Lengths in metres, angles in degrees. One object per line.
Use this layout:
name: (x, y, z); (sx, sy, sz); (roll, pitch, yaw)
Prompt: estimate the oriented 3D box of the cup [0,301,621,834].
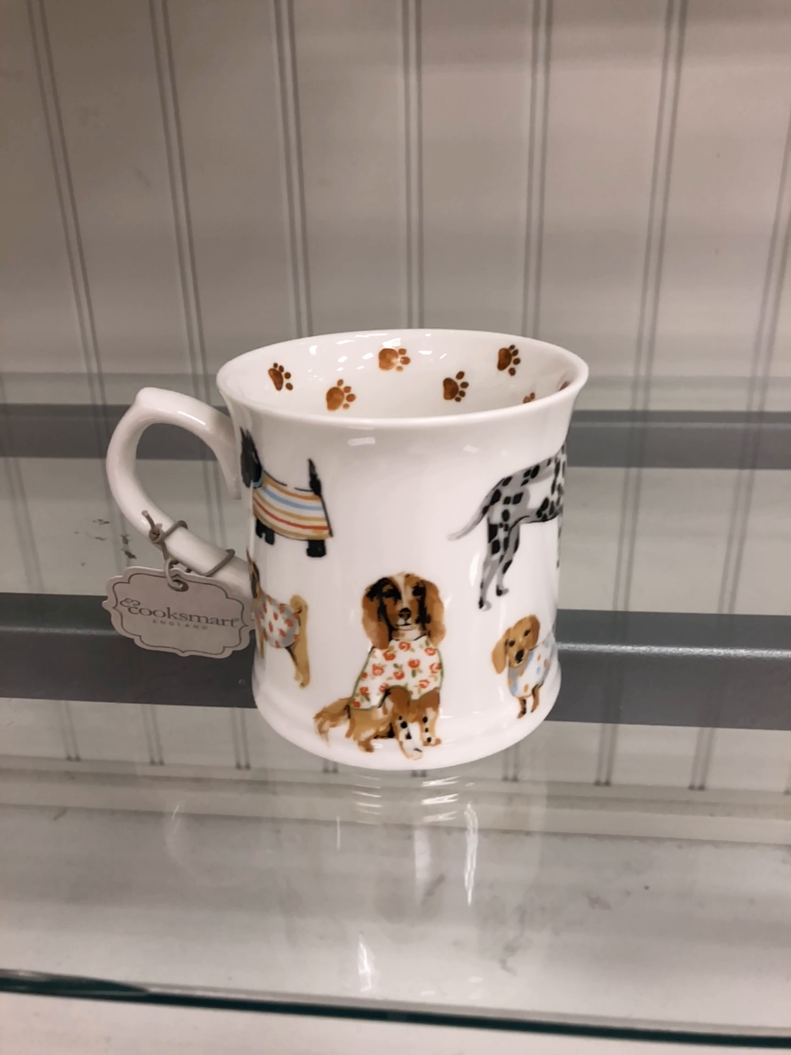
cup: (-0.012, -0.003, 0.228); (0.125, 0.089, 0.101); (6, 25, 16)
